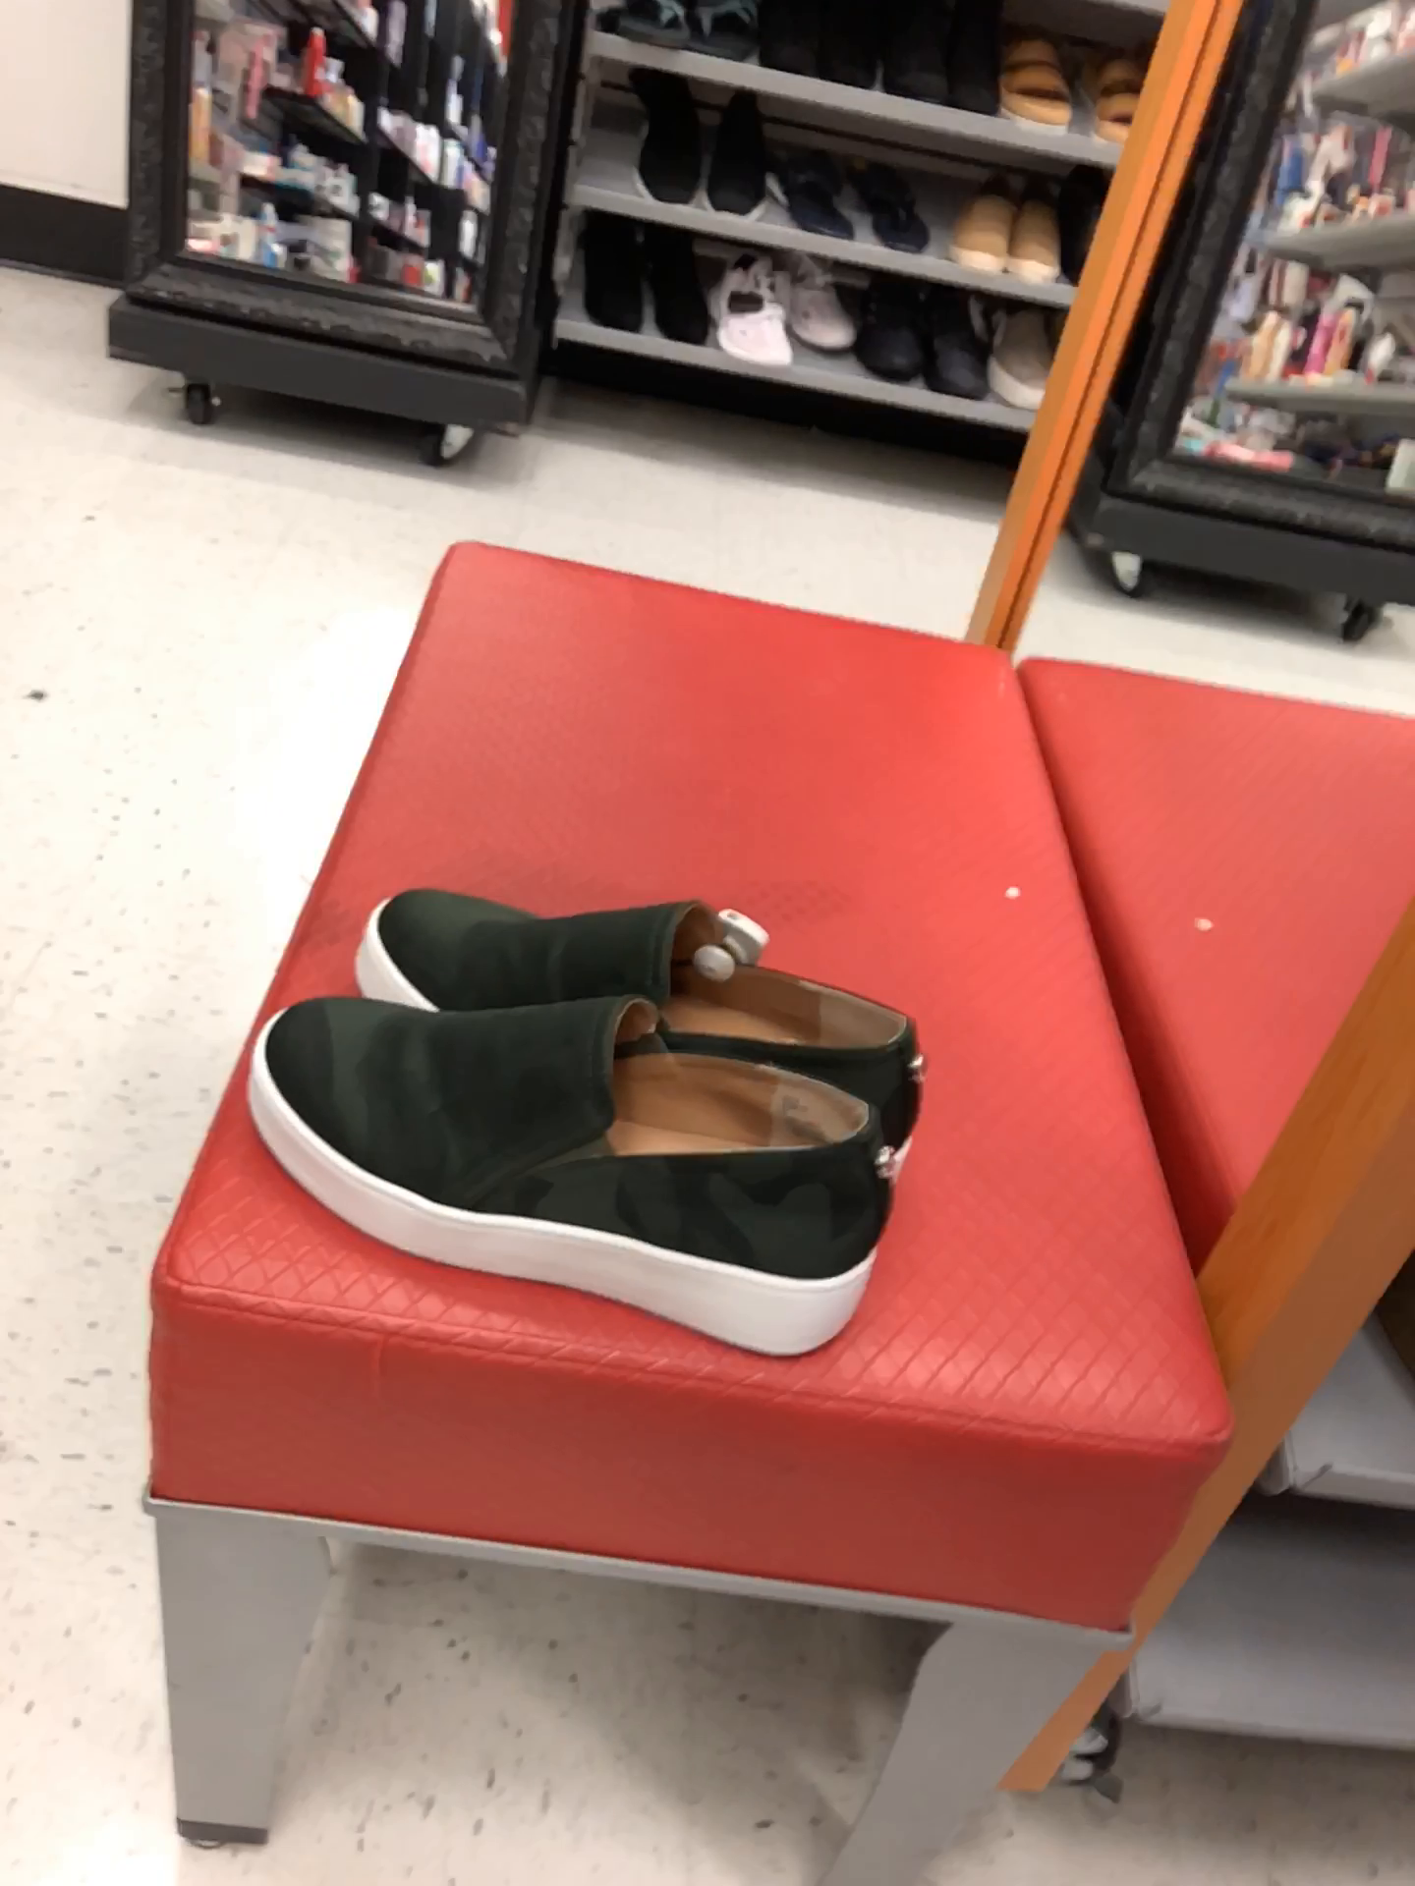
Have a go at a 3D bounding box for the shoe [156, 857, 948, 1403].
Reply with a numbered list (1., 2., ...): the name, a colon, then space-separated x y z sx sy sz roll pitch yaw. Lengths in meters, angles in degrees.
1. shoe: -0.058 0.067 0.603 0.276 0.086 0.106 17 35 5

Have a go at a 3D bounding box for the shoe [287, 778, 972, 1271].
1. shoe: -0.039 0.029 0.665 0.276 0.086 0.077 22 36 12
